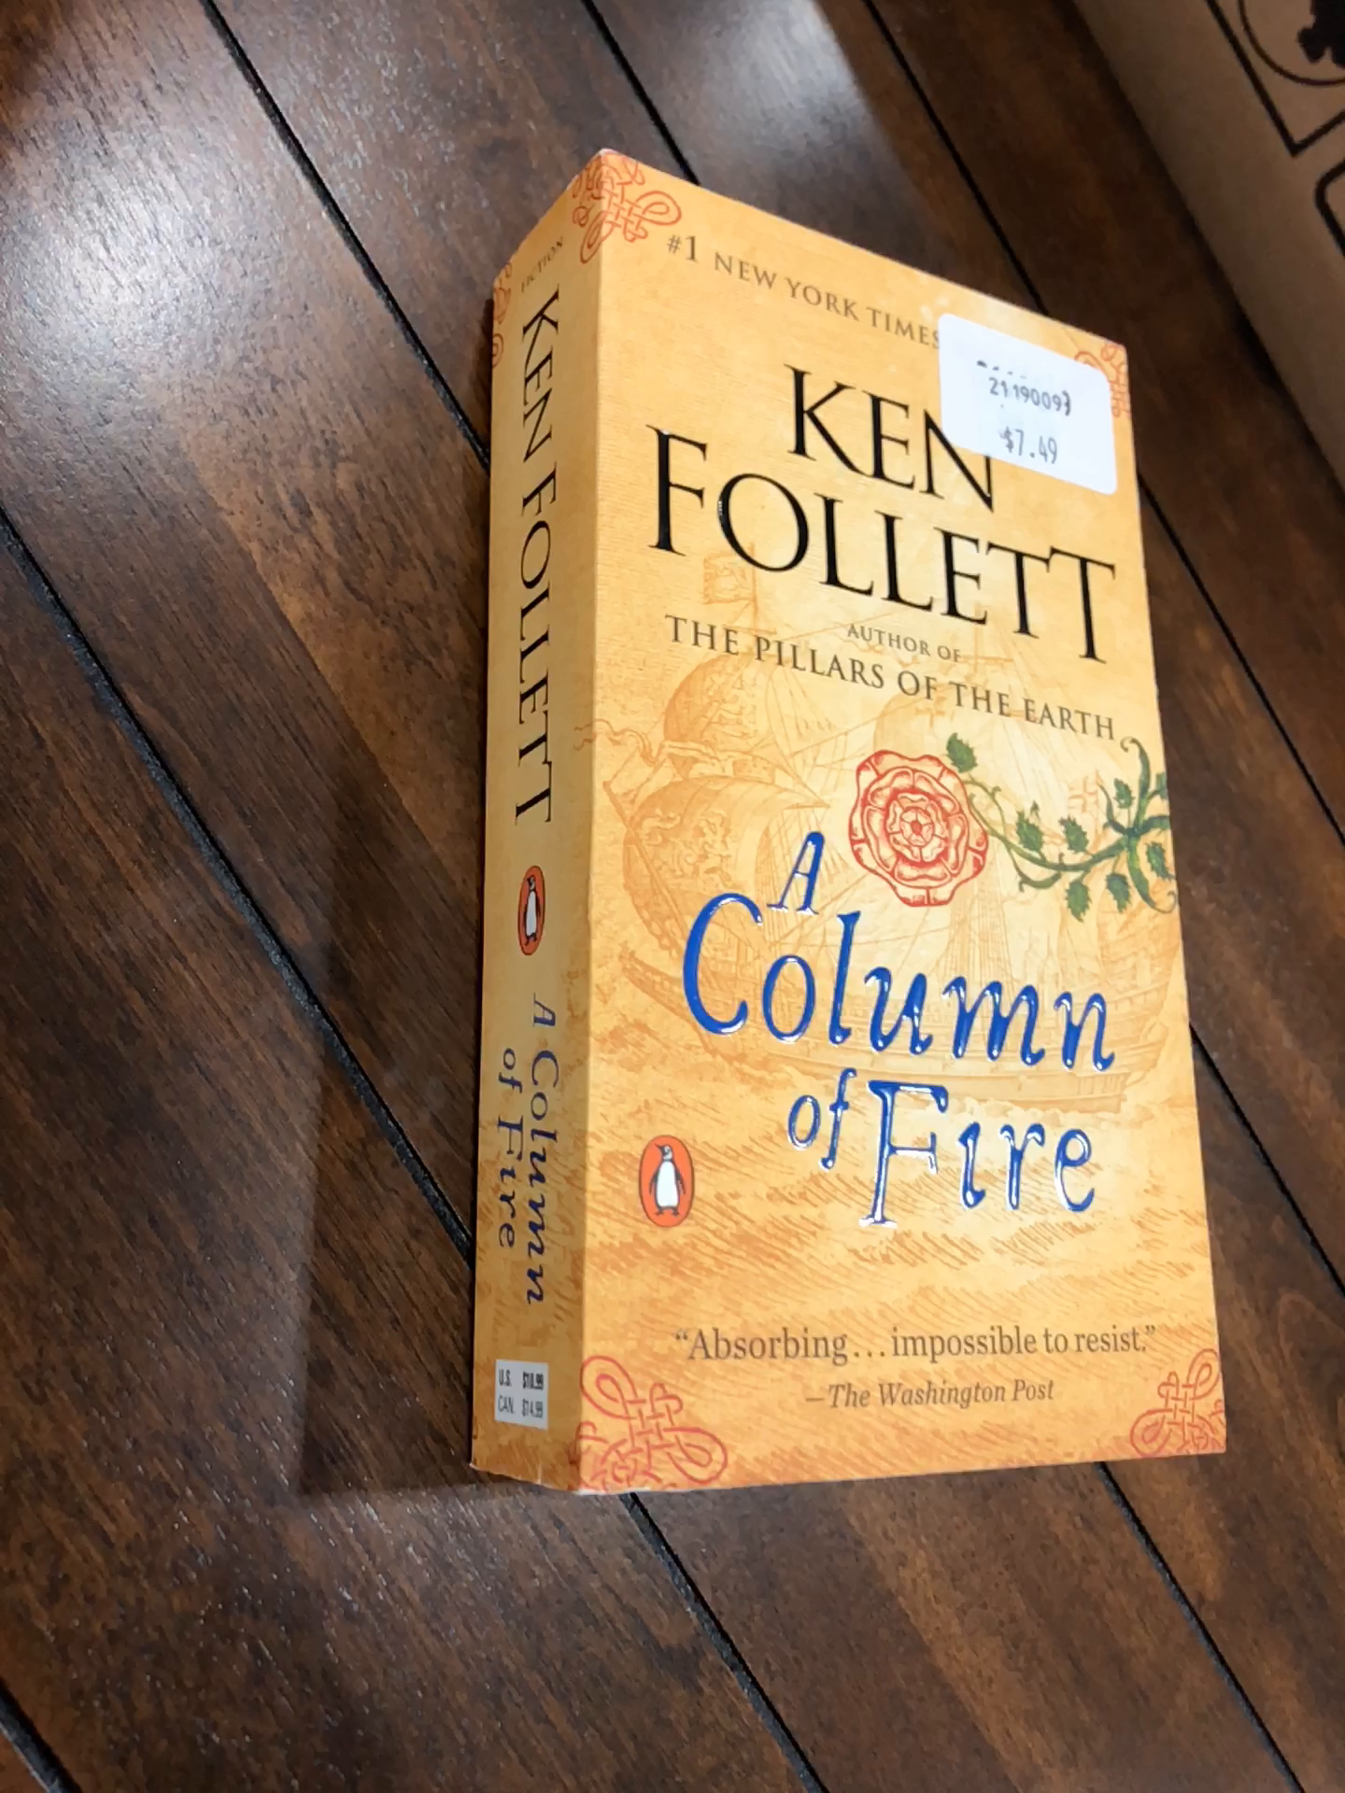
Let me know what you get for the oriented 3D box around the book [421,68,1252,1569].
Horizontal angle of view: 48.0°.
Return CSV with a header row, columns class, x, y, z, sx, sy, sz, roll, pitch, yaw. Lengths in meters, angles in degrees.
class,x,y,z,sx,sy,sz,roll,pitch,yaw
book,0.025,-0.011,0.230,0.110,0.040,0.195,8,73,-29
